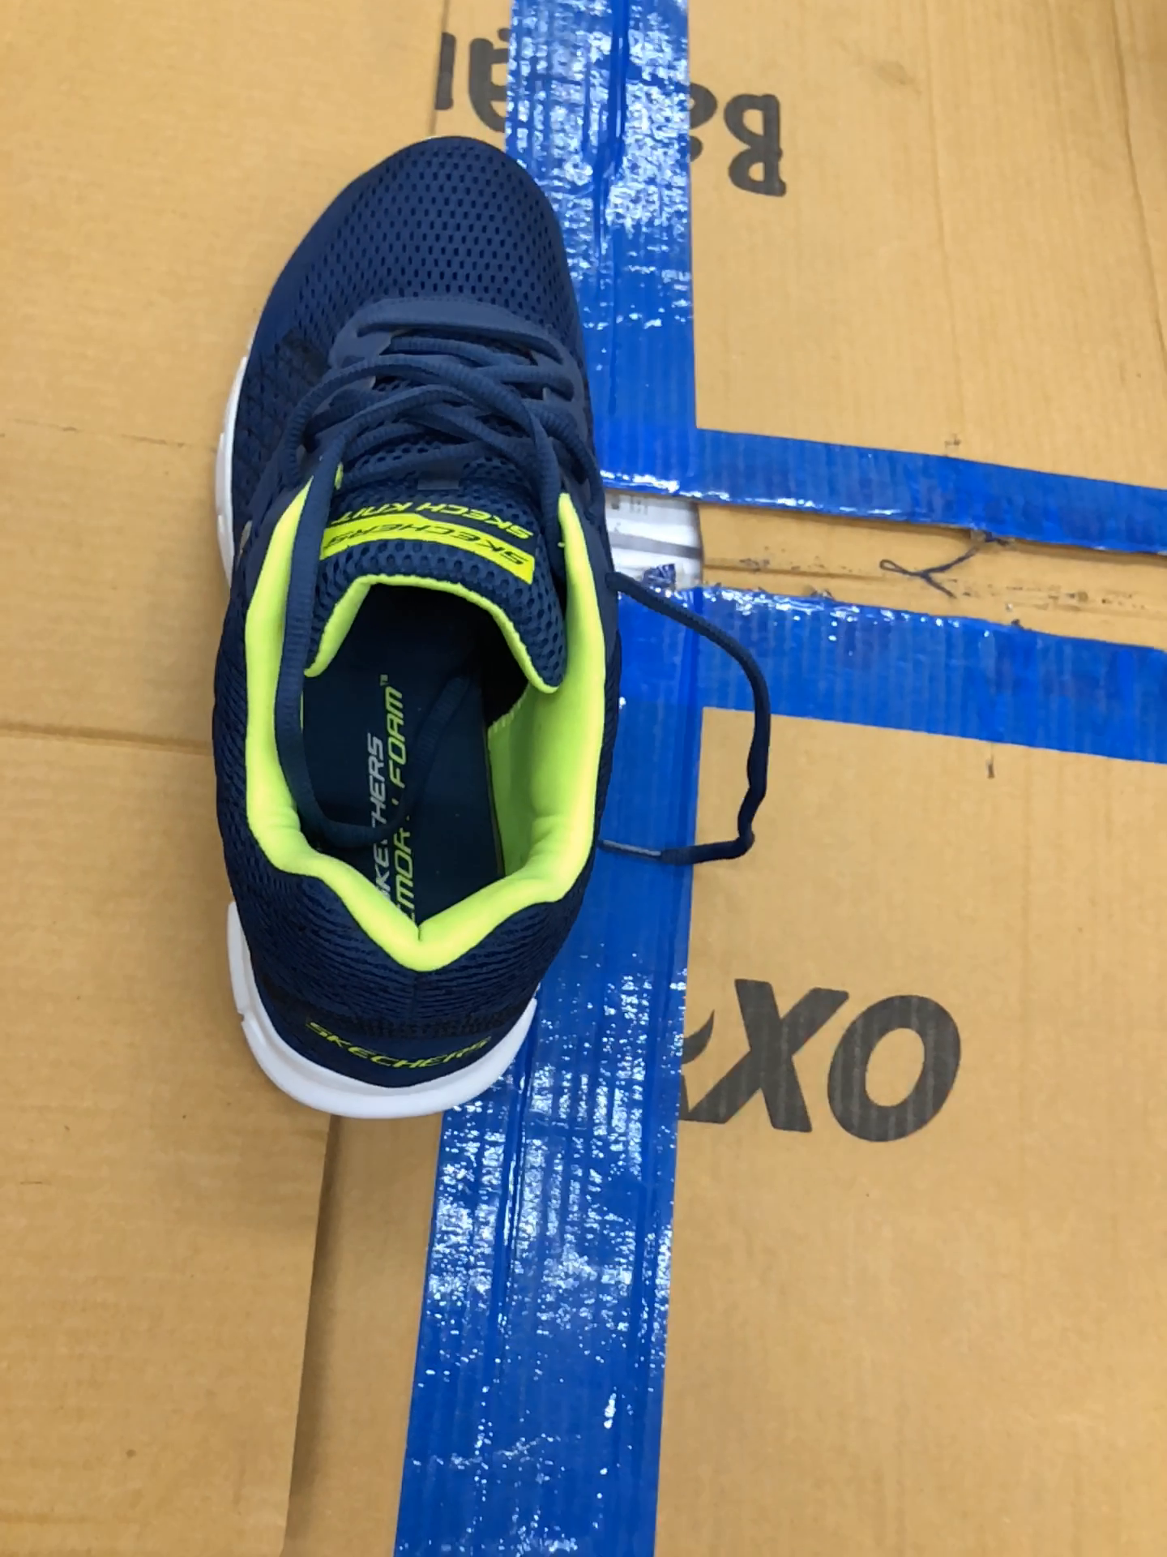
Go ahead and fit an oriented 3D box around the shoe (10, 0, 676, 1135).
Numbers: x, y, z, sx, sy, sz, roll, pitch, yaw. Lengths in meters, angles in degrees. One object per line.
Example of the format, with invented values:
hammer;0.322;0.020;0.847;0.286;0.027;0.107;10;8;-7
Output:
shoe;-0.053;-0.065;0.322;0.110;0.130;0.291;2;72;-10
